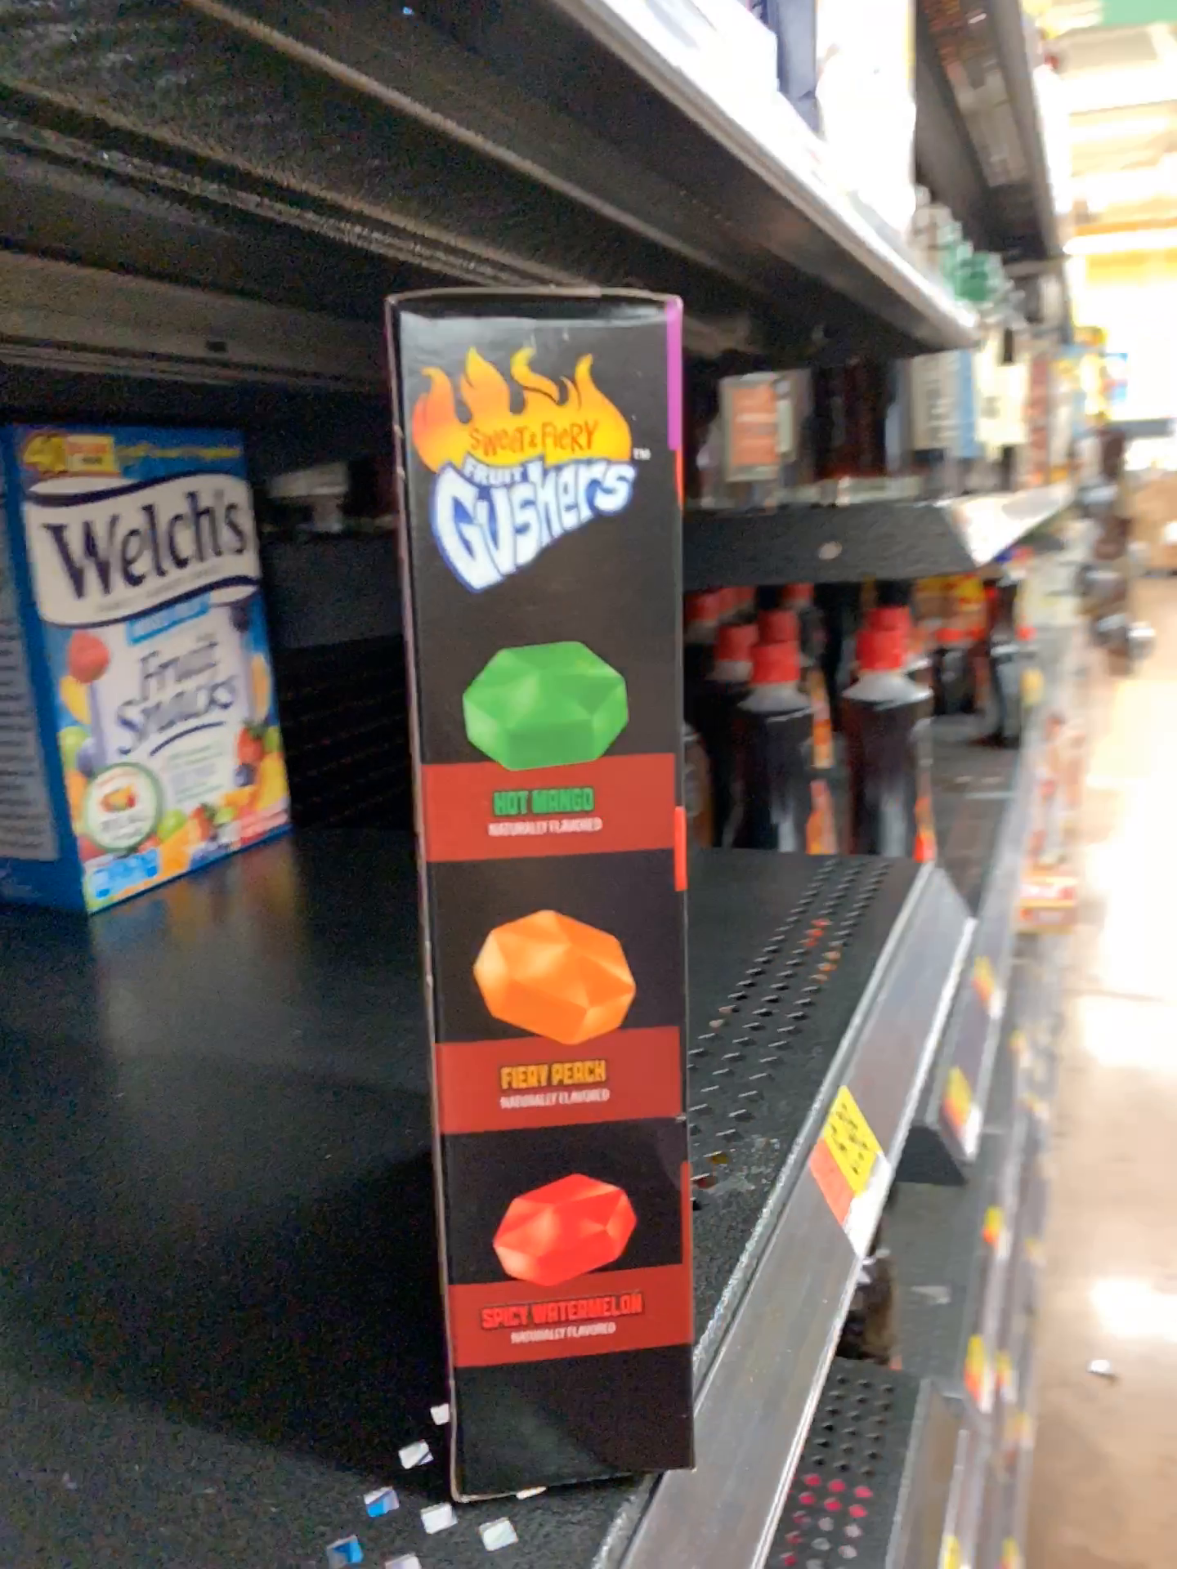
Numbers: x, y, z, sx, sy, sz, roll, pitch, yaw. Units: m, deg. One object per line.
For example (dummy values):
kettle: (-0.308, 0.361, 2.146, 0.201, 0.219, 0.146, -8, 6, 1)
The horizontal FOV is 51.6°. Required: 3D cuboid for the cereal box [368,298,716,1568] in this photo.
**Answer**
cereal box: (-0.014, 0.022, 0.270, 0.050, 0.219, 0.150, -2, 12, -7)
